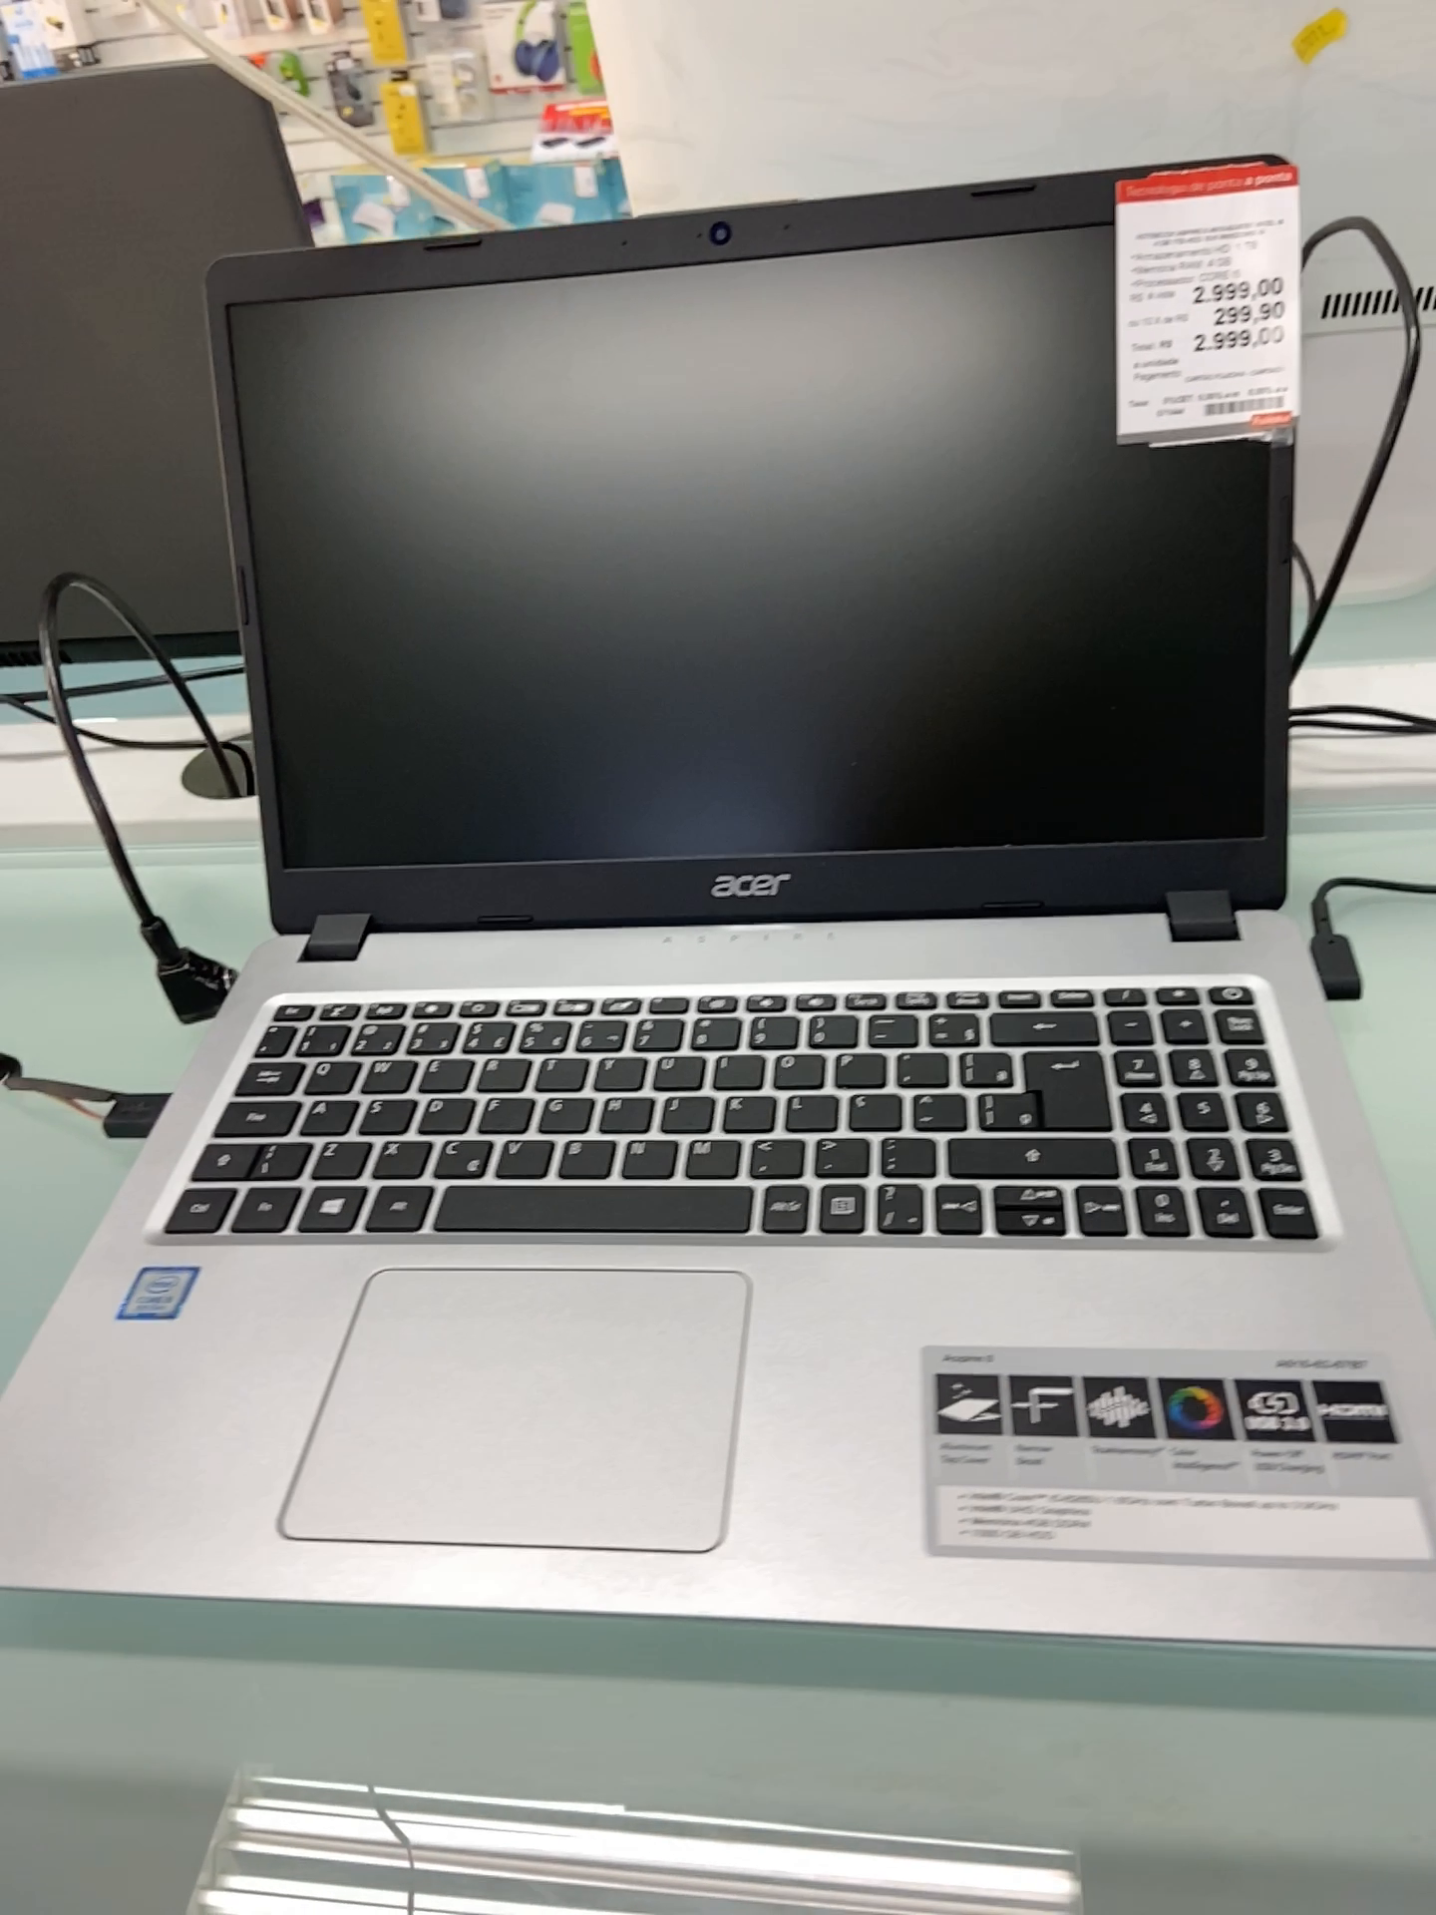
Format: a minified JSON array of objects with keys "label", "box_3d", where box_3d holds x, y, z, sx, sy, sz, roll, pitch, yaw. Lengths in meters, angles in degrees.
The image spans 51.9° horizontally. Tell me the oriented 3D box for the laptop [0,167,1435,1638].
[{"label":"laptop","box_3d":[-0.007,-0.049,0.409,0.365,0.204,0.366,-2,38,9]}]
